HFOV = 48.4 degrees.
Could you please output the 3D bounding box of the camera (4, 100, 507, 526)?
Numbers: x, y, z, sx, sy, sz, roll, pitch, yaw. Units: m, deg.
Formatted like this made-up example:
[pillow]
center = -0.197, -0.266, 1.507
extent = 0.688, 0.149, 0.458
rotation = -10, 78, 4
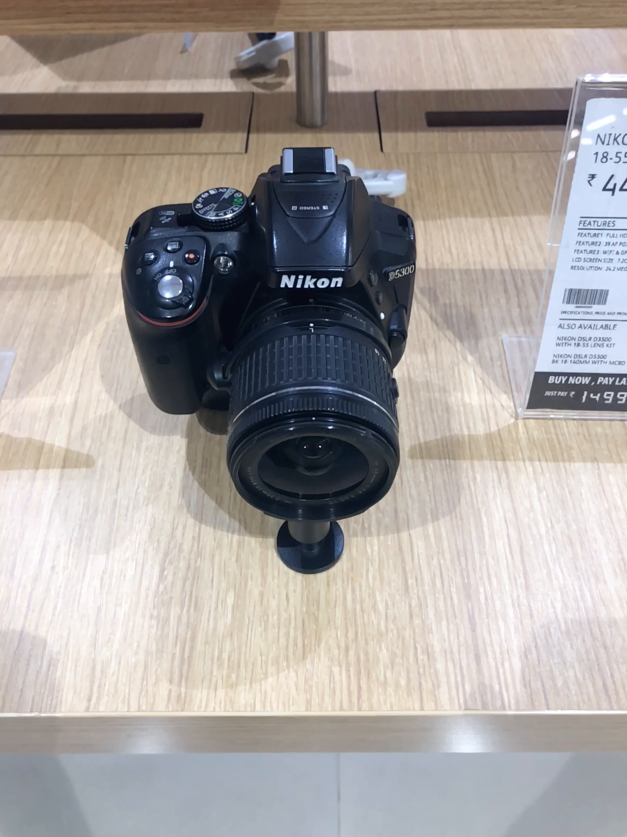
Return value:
[camera]
center = -0.015, -0.045, 0.255
extent = 0.130, 0.070, 0.151
rotation = -1, 50, 0
